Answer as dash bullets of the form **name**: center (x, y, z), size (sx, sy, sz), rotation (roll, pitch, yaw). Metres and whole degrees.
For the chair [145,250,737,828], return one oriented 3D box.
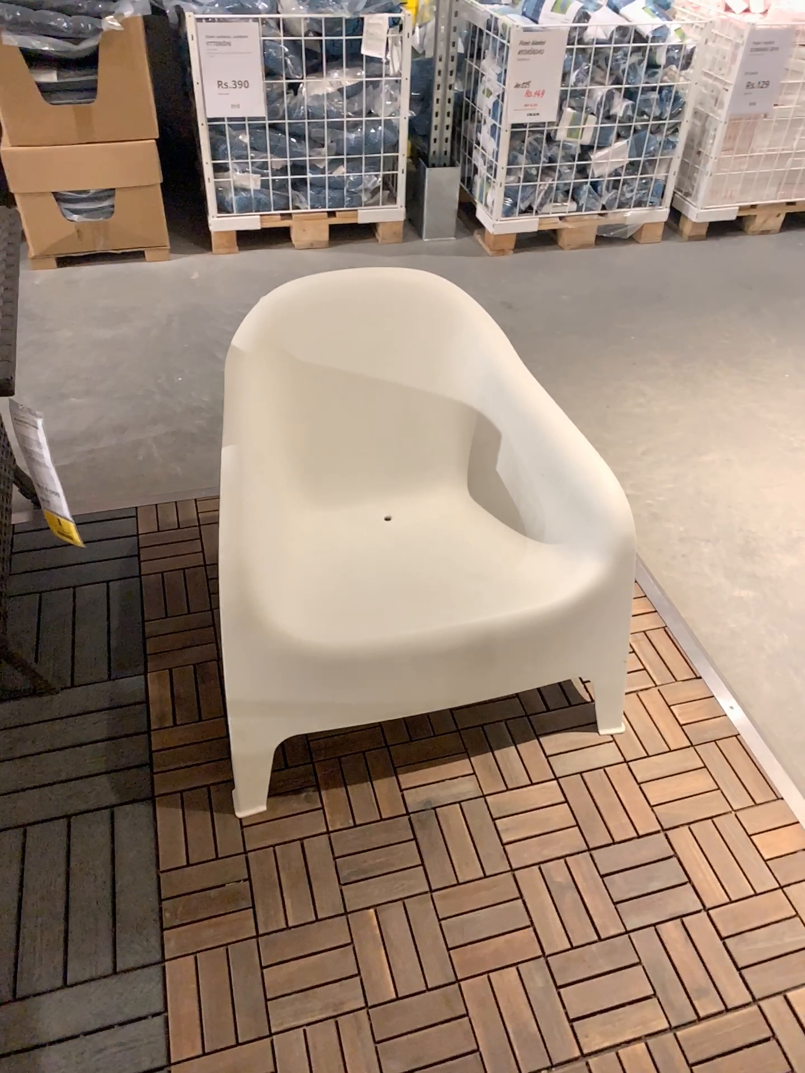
- **chair**: center (-0.018, -0.046, 1.535), size (0.770, 0.638, 0.763), rotation (-8, 43, -13)
